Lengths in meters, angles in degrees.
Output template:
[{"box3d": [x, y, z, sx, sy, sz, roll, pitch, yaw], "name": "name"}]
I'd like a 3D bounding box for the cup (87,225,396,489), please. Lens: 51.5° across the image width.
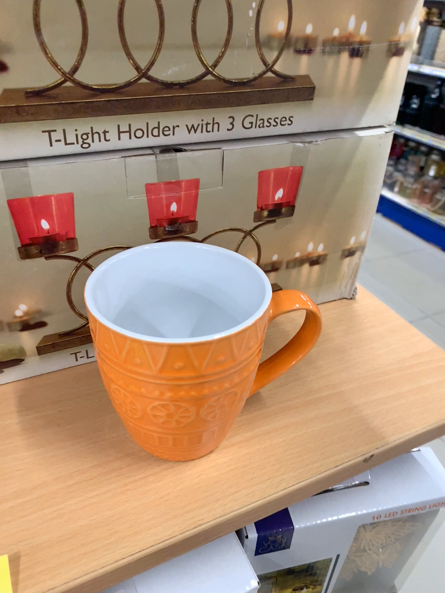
[{"box3d": [0.002, 0.022, 0.231, 0.120, 0.080, 0.080, -7, 34, -18], "name": "cup"}]
